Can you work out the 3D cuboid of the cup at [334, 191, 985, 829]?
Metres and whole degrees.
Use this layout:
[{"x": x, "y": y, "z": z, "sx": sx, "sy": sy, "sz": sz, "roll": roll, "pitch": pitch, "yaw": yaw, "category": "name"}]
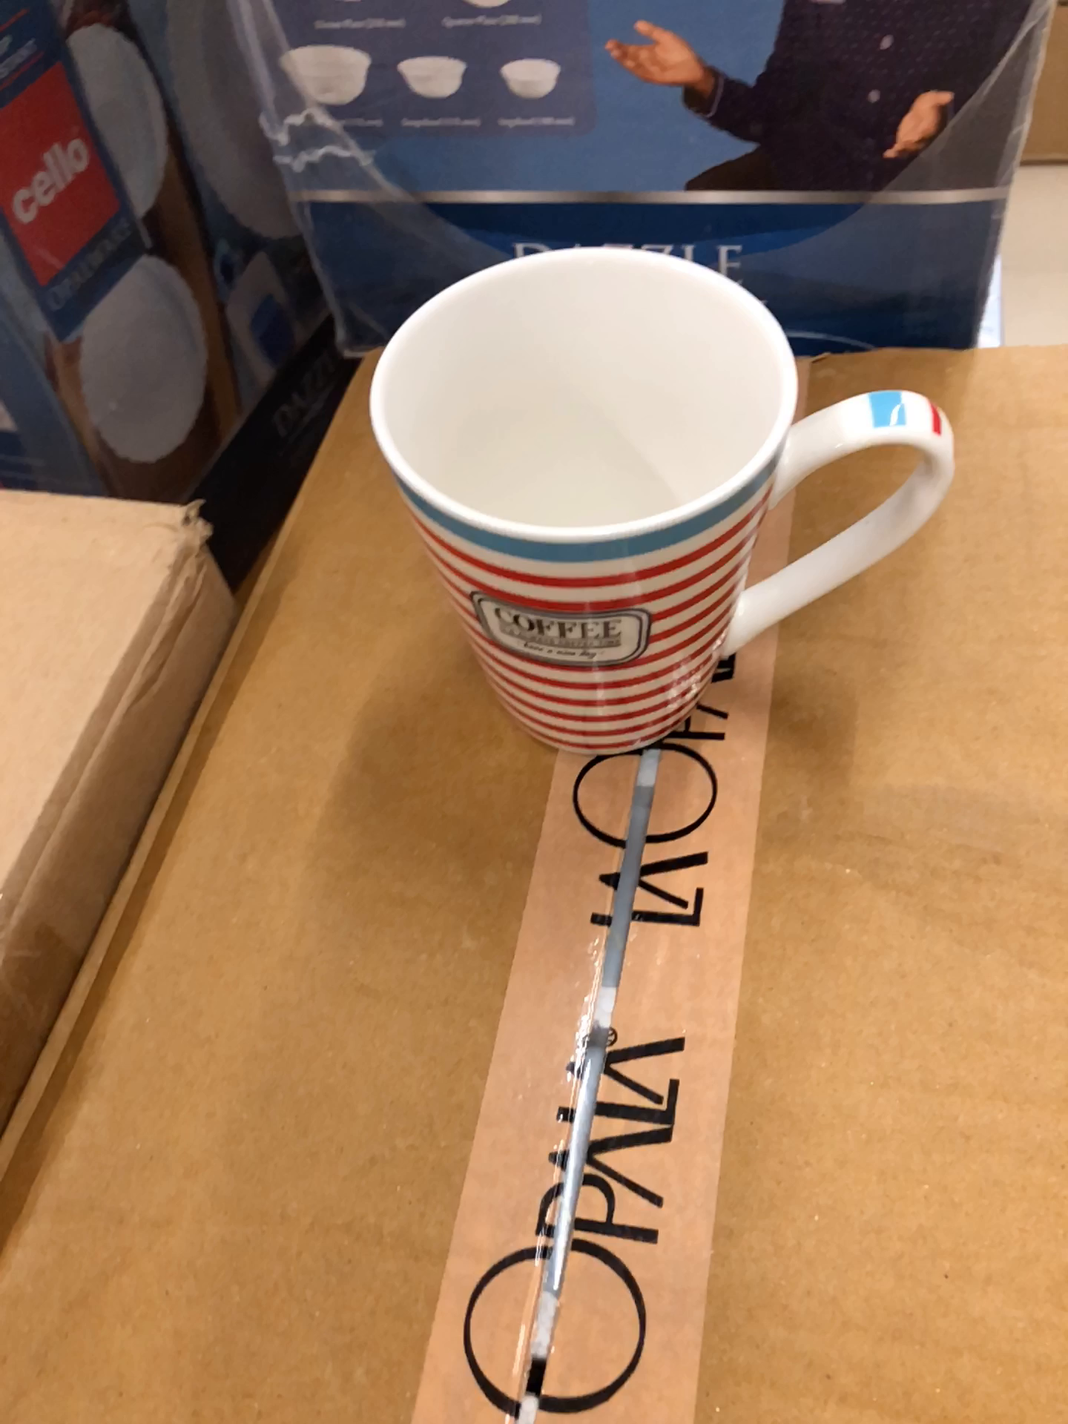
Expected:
[{"x": 0.026, "y": -0.041, "z": 0.268, "sx": 0.110, "sy": 0.099, "sz": 0.091, "roll": -3, "pitch": 52, "yaw": 6, "category": "cup"}]
